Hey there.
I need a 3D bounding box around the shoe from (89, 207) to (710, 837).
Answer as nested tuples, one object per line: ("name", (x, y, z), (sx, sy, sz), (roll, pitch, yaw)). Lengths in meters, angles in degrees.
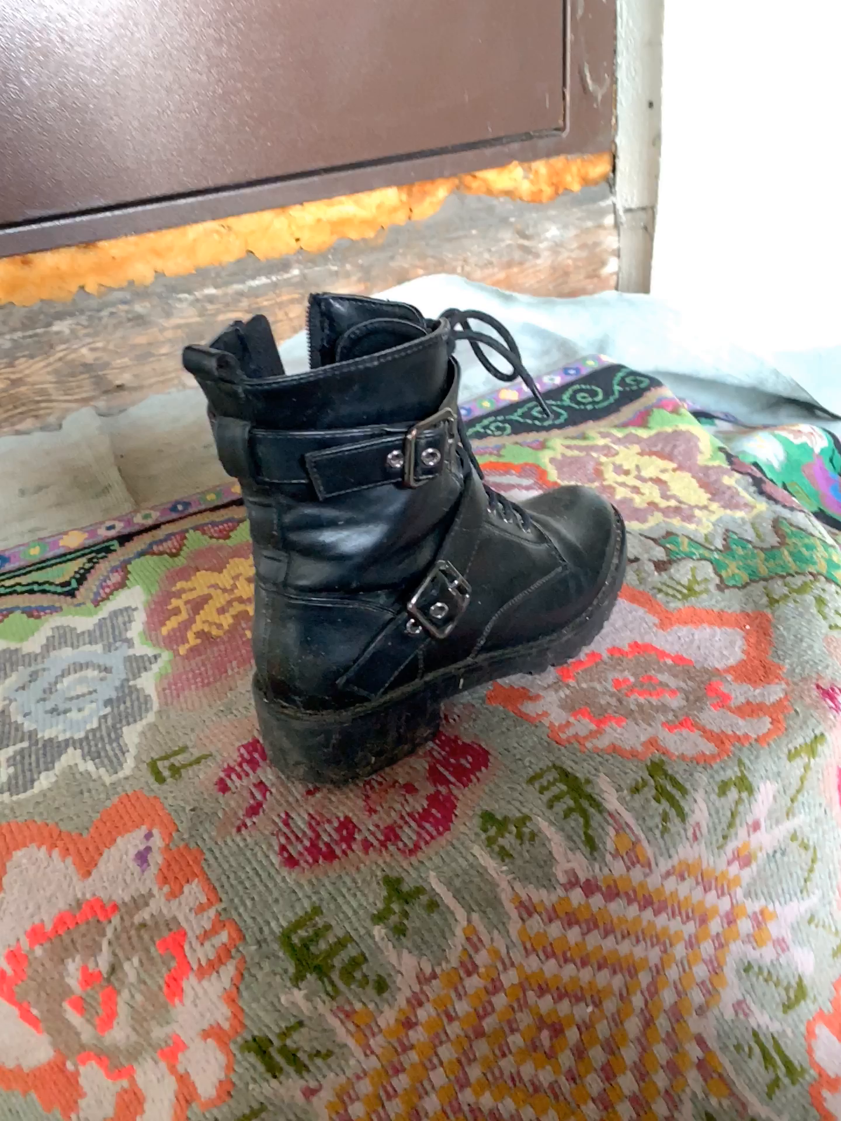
("shoe", (0.010, -0.032, 0.390), (0.241, 0.188, 0.090), (-27, 38, -29))
